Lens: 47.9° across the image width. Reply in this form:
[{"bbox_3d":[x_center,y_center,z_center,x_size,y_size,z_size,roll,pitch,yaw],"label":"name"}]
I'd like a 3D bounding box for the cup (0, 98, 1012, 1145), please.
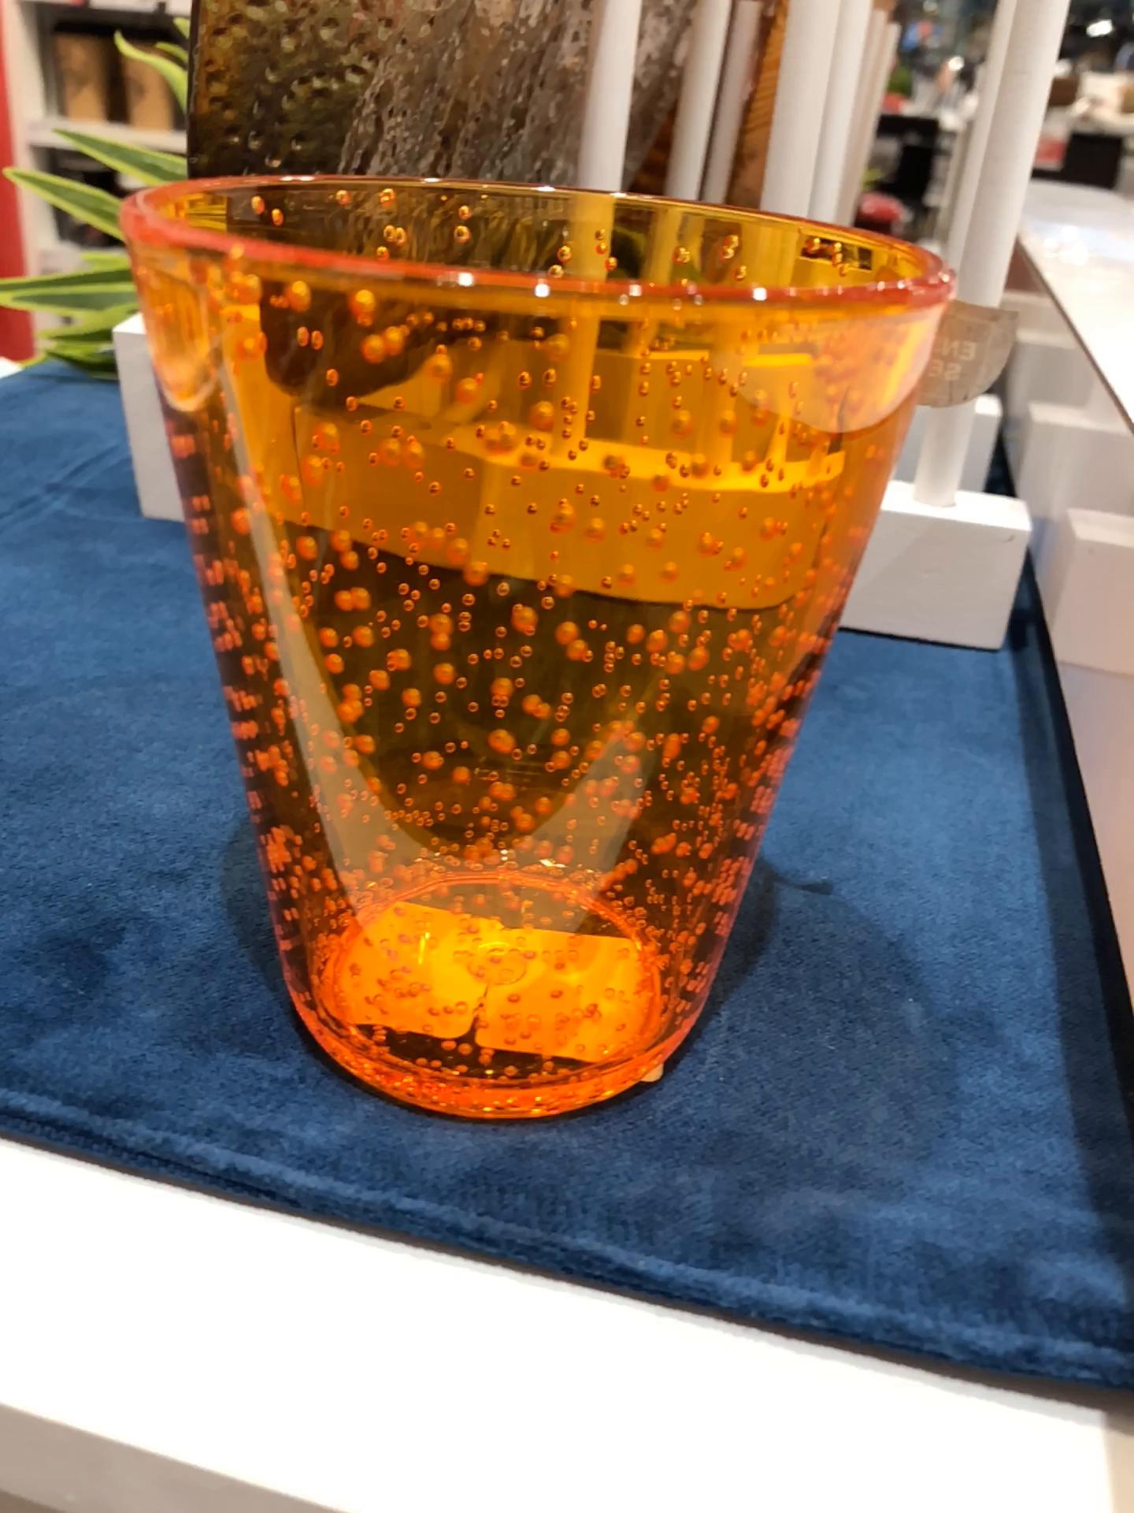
[{"bbox_3d":[-0.012,-0.018,0.142,0.080,0.090,0.070,4,29,-4],"label":"cup"}]
